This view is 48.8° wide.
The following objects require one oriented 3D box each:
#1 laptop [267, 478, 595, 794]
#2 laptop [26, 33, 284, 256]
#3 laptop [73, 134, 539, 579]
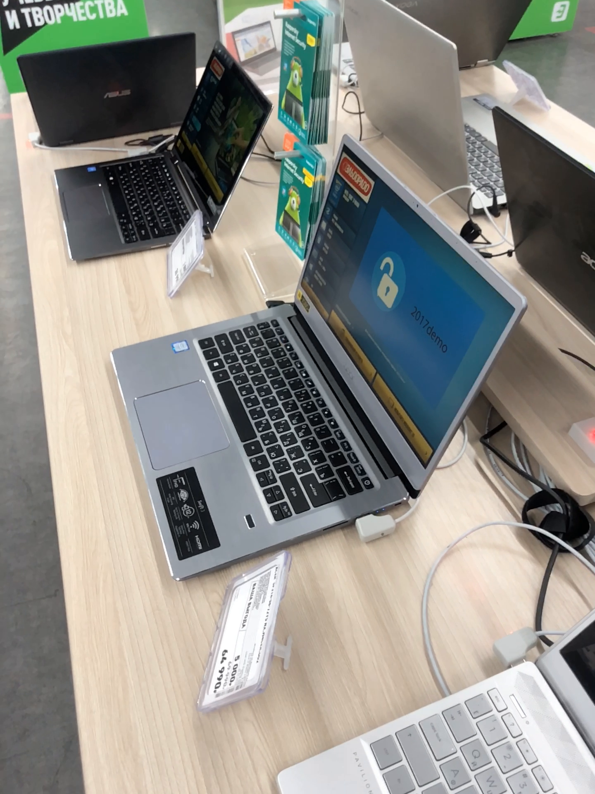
[{"bbox_3d":[0.190,0.256,0.321,0.322,0.164,0.306,-17,47,-11],"label":"laptop"},{"bbox_3d":[-0.217,-0.390,0.985,0.311,0.159,0.280,-16,47,-10],"label":"laptop"},{"bbox_3d":[-0.017,-0.062,0.629,0.302,0.197,0.316,-17,47,-12],"label":"laptop"}]
